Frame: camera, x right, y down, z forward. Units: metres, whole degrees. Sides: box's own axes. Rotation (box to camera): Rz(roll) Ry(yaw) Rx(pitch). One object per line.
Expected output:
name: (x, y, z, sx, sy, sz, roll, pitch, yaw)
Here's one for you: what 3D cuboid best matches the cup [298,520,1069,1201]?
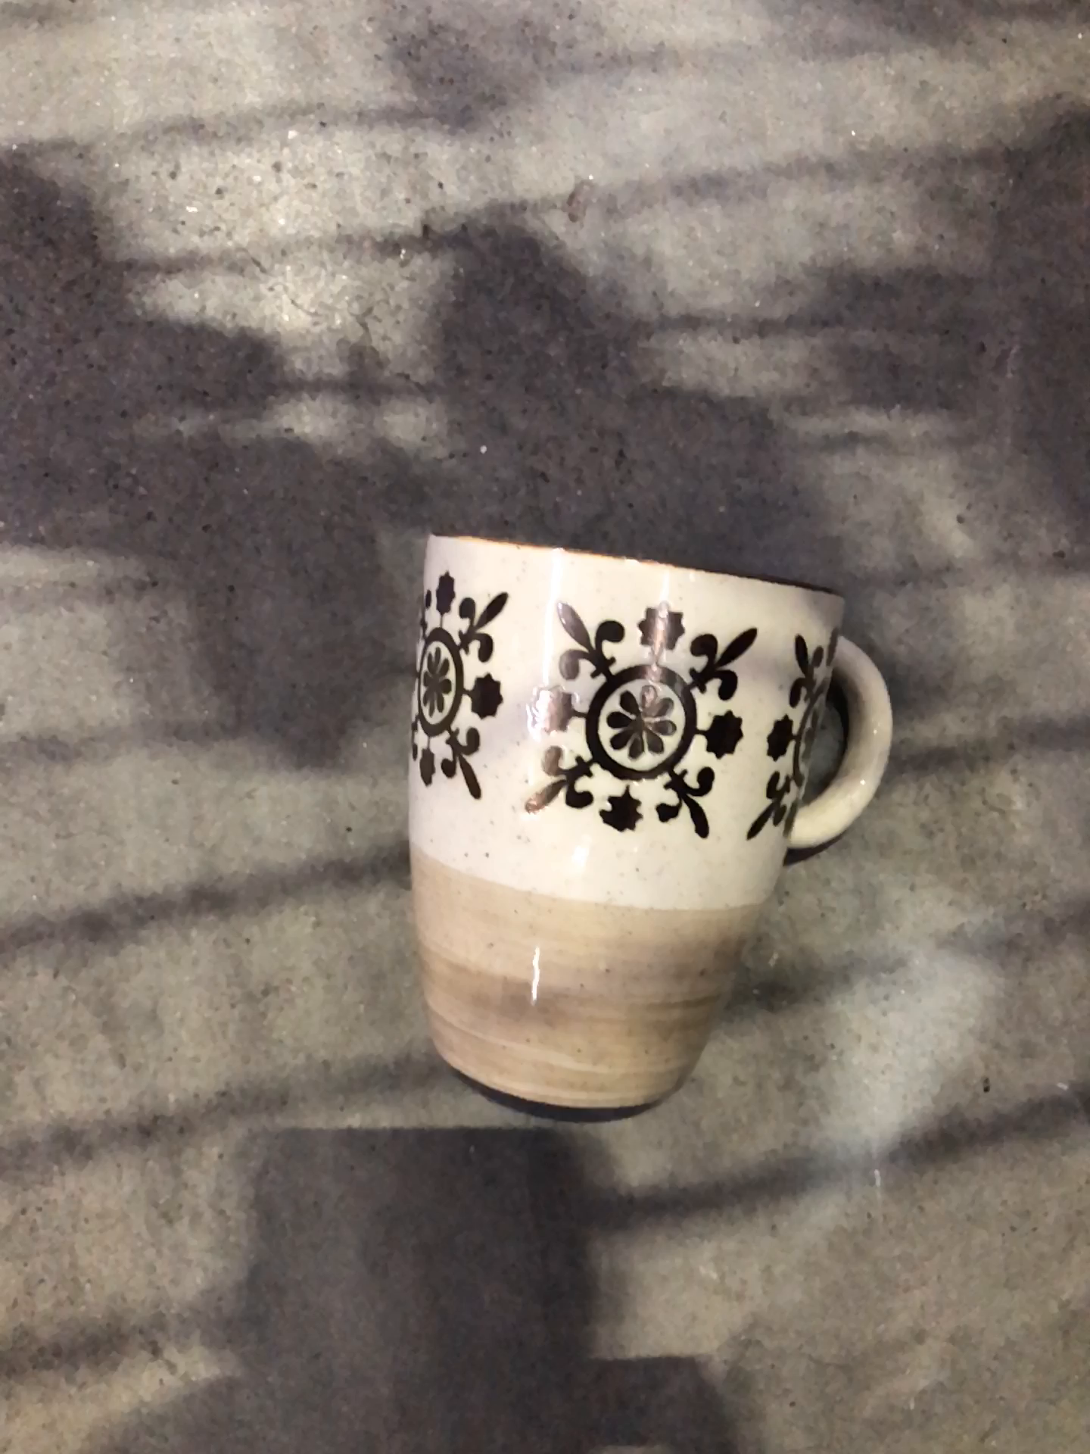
cup: (0.020, 0.016, 0.211, 0.100, 0.070, 0.090, 4, 97, -28)
